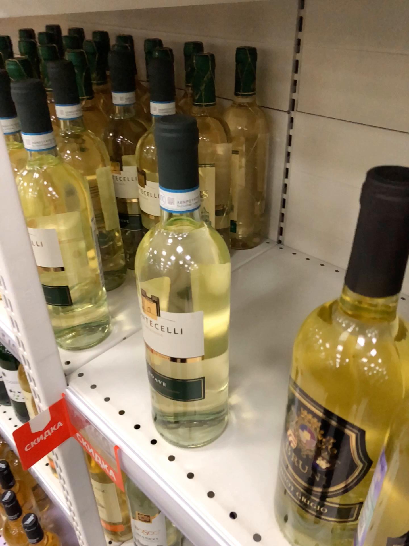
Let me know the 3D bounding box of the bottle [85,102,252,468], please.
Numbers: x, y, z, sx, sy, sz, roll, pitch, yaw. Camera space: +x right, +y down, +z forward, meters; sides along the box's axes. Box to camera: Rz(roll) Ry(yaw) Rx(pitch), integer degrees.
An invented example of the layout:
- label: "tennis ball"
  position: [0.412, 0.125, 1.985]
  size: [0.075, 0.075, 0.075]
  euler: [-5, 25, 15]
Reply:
- label: "bottle"
  position: [-0.021, 0.023, 0.362]
  size: [0.080, 0.284, 0.070]
  euler: [25, 41, 34]
